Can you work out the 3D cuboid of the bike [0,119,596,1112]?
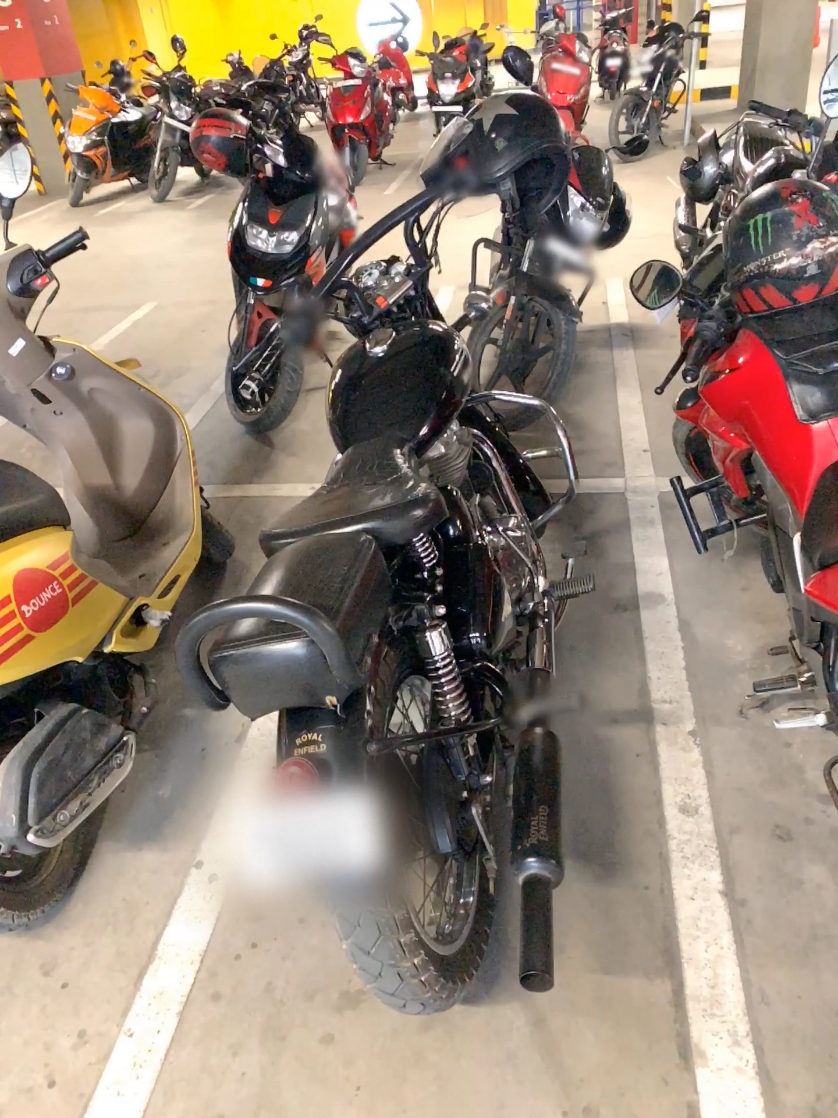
[{"bbox_3d":[-0.171,-0.163,1.987,0.799,1.303,2.032,-4,32,4],"label":"bike"}]
